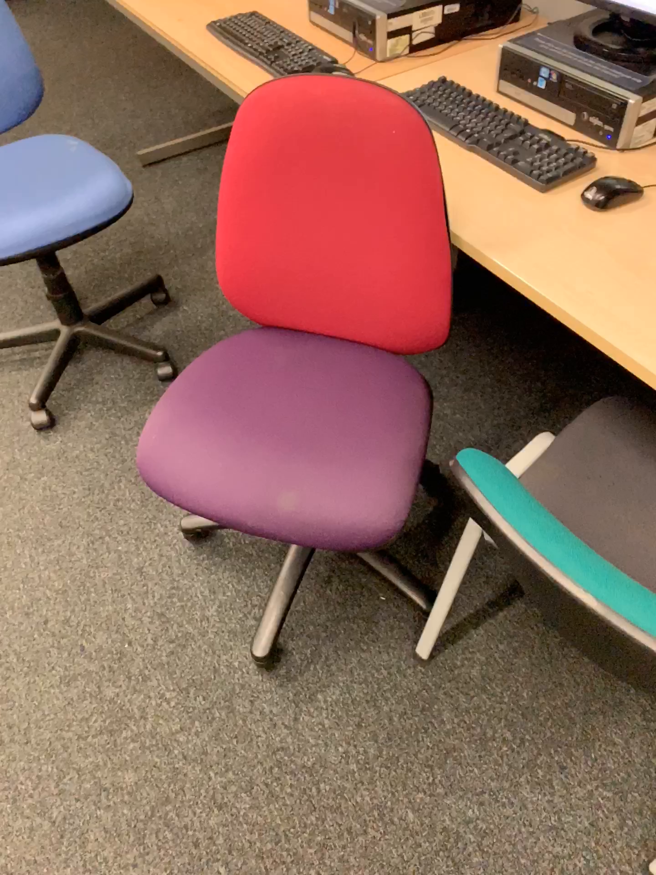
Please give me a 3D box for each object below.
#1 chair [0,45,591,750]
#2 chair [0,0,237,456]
[{"bbox_3d":[-0.054,-0.044,1.125,0.654,0.869,0.602,17,52,18],"label":"chair"},{"bbox_3d":[-0.693,-0.549,1.592,0.604,0.829,0.602,-30,53,-21],"label":"chair"}]
